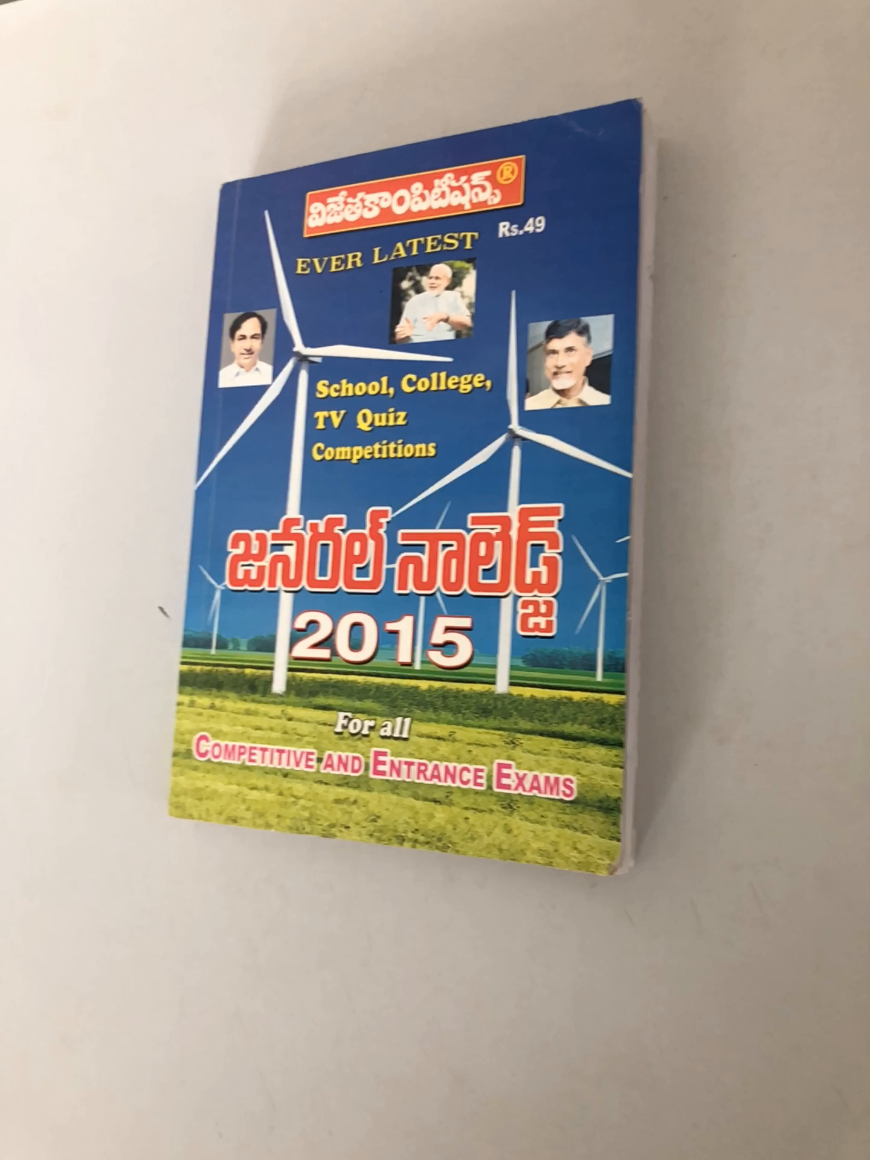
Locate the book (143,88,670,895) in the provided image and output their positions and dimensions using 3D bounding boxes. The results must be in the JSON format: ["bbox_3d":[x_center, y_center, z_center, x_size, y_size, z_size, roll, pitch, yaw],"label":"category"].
[{"bbox_3d":[-0.009,-0.023,0.251,0.129,0.022,0.182,1,83,24],"label":"book"}]
